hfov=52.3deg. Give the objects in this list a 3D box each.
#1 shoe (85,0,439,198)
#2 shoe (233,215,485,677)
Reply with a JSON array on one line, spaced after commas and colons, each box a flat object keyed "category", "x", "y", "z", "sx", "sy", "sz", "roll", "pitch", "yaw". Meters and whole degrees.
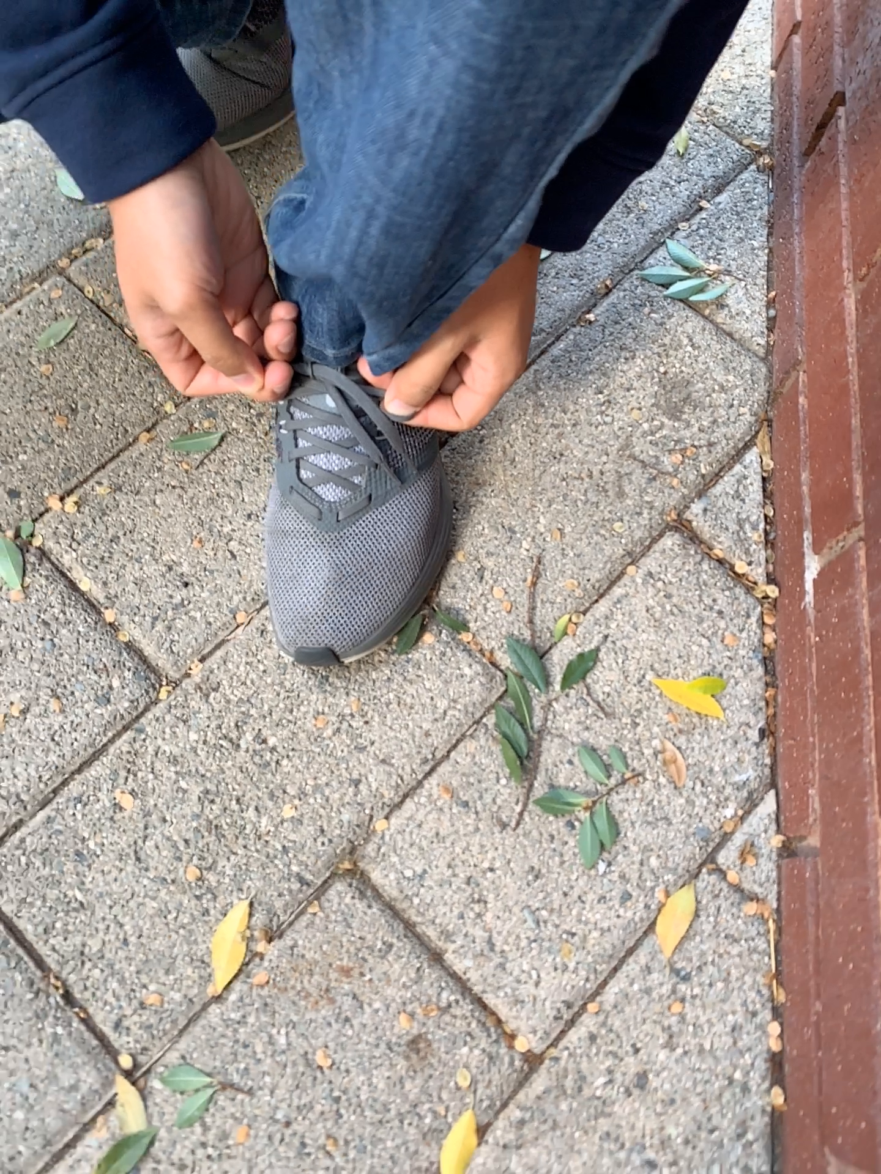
[{"category": "shoe", "x": -0.138, "y": -0.443, "z": 0.643, "sx": 0.116, "sy": 0.274, "sz": 0.098, "roll": 51, "pitch": 35, "yaw": 16}, {"category": "shoe", "x": -0.044, "y": -0.094, "z": 0.583, "sx": 0.110, "sy": 0.083, "sz": 0.280, "roll": 7, "pitch": 70, "yaw": 0}]
